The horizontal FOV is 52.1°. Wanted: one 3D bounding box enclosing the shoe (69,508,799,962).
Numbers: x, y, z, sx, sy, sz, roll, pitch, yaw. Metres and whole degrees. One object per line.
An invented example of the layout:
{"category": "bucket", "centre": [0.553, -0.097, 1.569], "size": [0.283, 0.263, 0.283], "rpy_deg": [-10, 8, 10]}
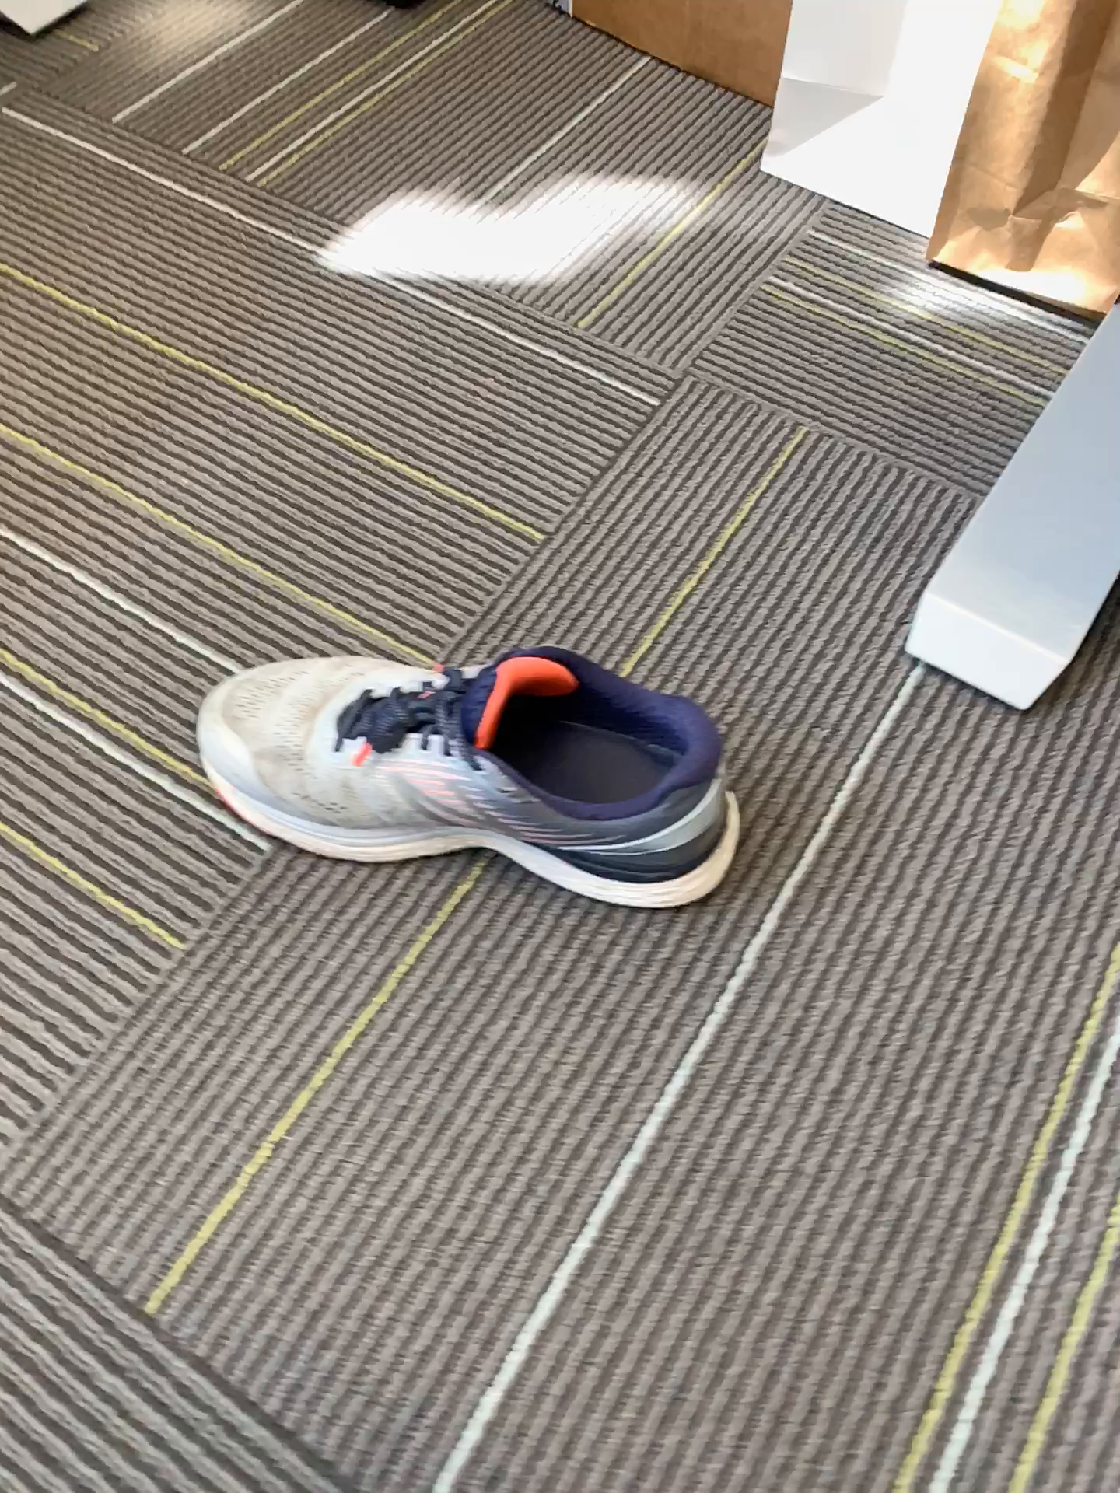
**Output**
{"category": "shoe", "centre": [-0.053, -0.006, 0.549], "size": [0.300, 0.110, 0.110], "rpy_deg": [14, 60, 8]}
